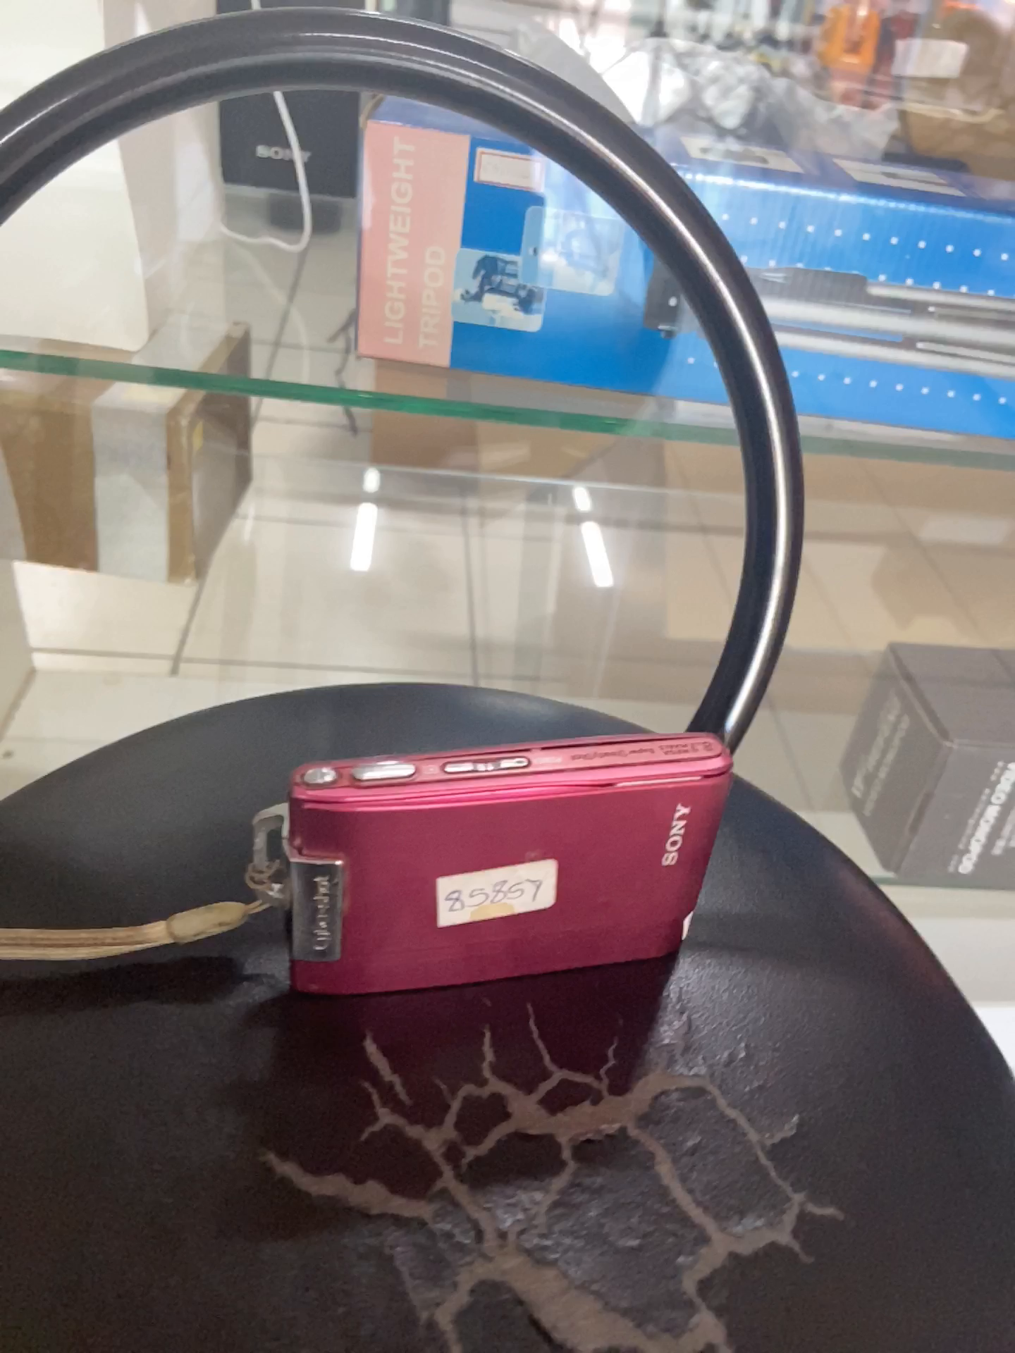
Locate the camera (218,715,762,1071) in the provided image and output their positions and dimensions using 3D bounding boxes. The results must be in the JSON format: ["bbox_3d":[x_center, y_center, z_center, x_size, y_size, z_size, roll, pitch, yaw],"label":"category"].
[{"bbox_3d":[-0.007,0.044,0.218,0.100,0.060,0.030,-3,37,-15],"label":"camera"}]
